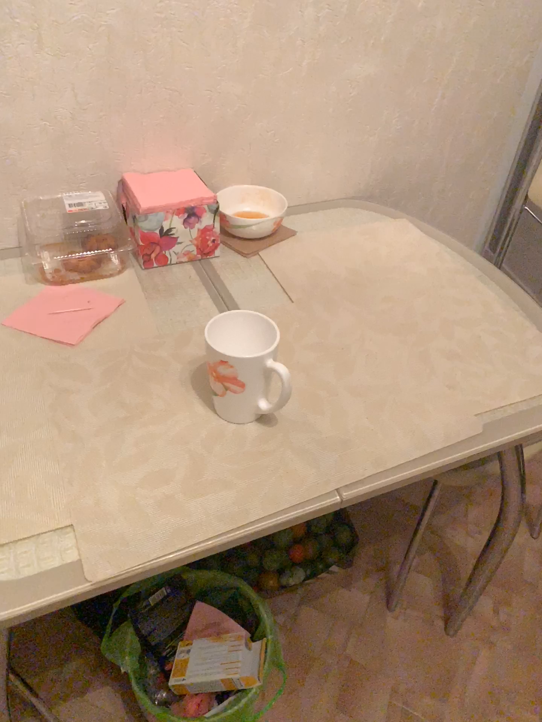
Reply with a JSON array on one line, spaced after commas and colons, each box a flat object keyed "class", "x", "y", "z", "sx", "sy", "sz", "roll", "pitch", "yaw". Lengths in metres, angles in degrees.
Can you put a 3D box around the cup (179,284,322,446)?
[{"class": "cup", "x": -0.024, "y": 0.001, "z": 0.596, "sx": 0.090, "sy": 0.099, "sz": 0.121, "roll": -29, "pitch": 50, "yaw": -32}]
